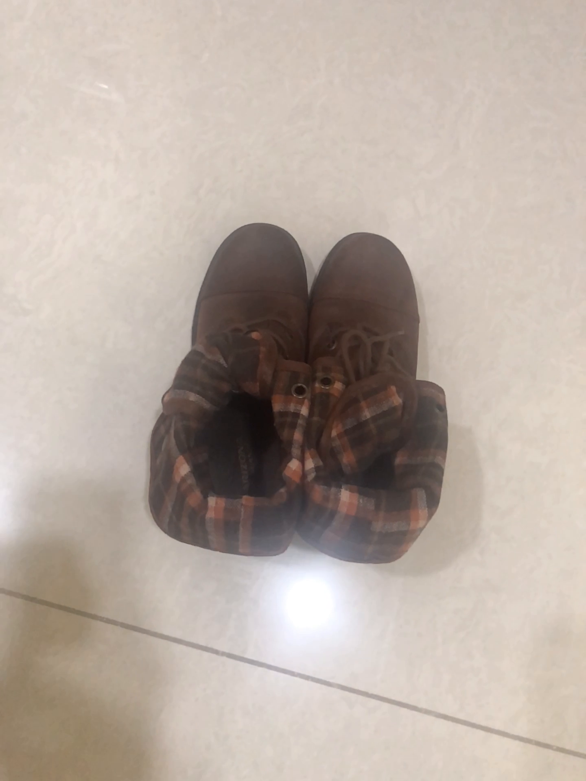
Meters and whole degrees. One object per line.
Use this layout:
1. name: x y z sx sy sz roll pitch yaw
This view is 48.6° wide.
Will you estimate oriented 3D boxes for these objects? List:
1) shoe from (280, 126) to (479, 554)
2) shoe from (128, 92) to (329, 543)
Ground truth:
1. shoe: 0.059 -0.025 0.472 0.100 0.140 0.270 6 75 -5
2. shoe: -0.042 -0.037 0.464 0.110 0.150 0.280 2 75 -6
